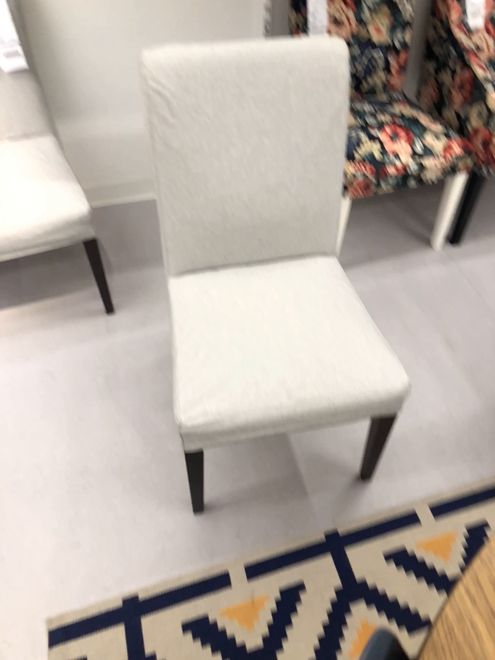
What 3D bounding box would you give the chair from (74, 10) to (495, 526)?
[{"bbox_3d":[0.005,-0.103,1.189,0.560,0.855,0.644,-9,50,-9],"label":"chair"}]
